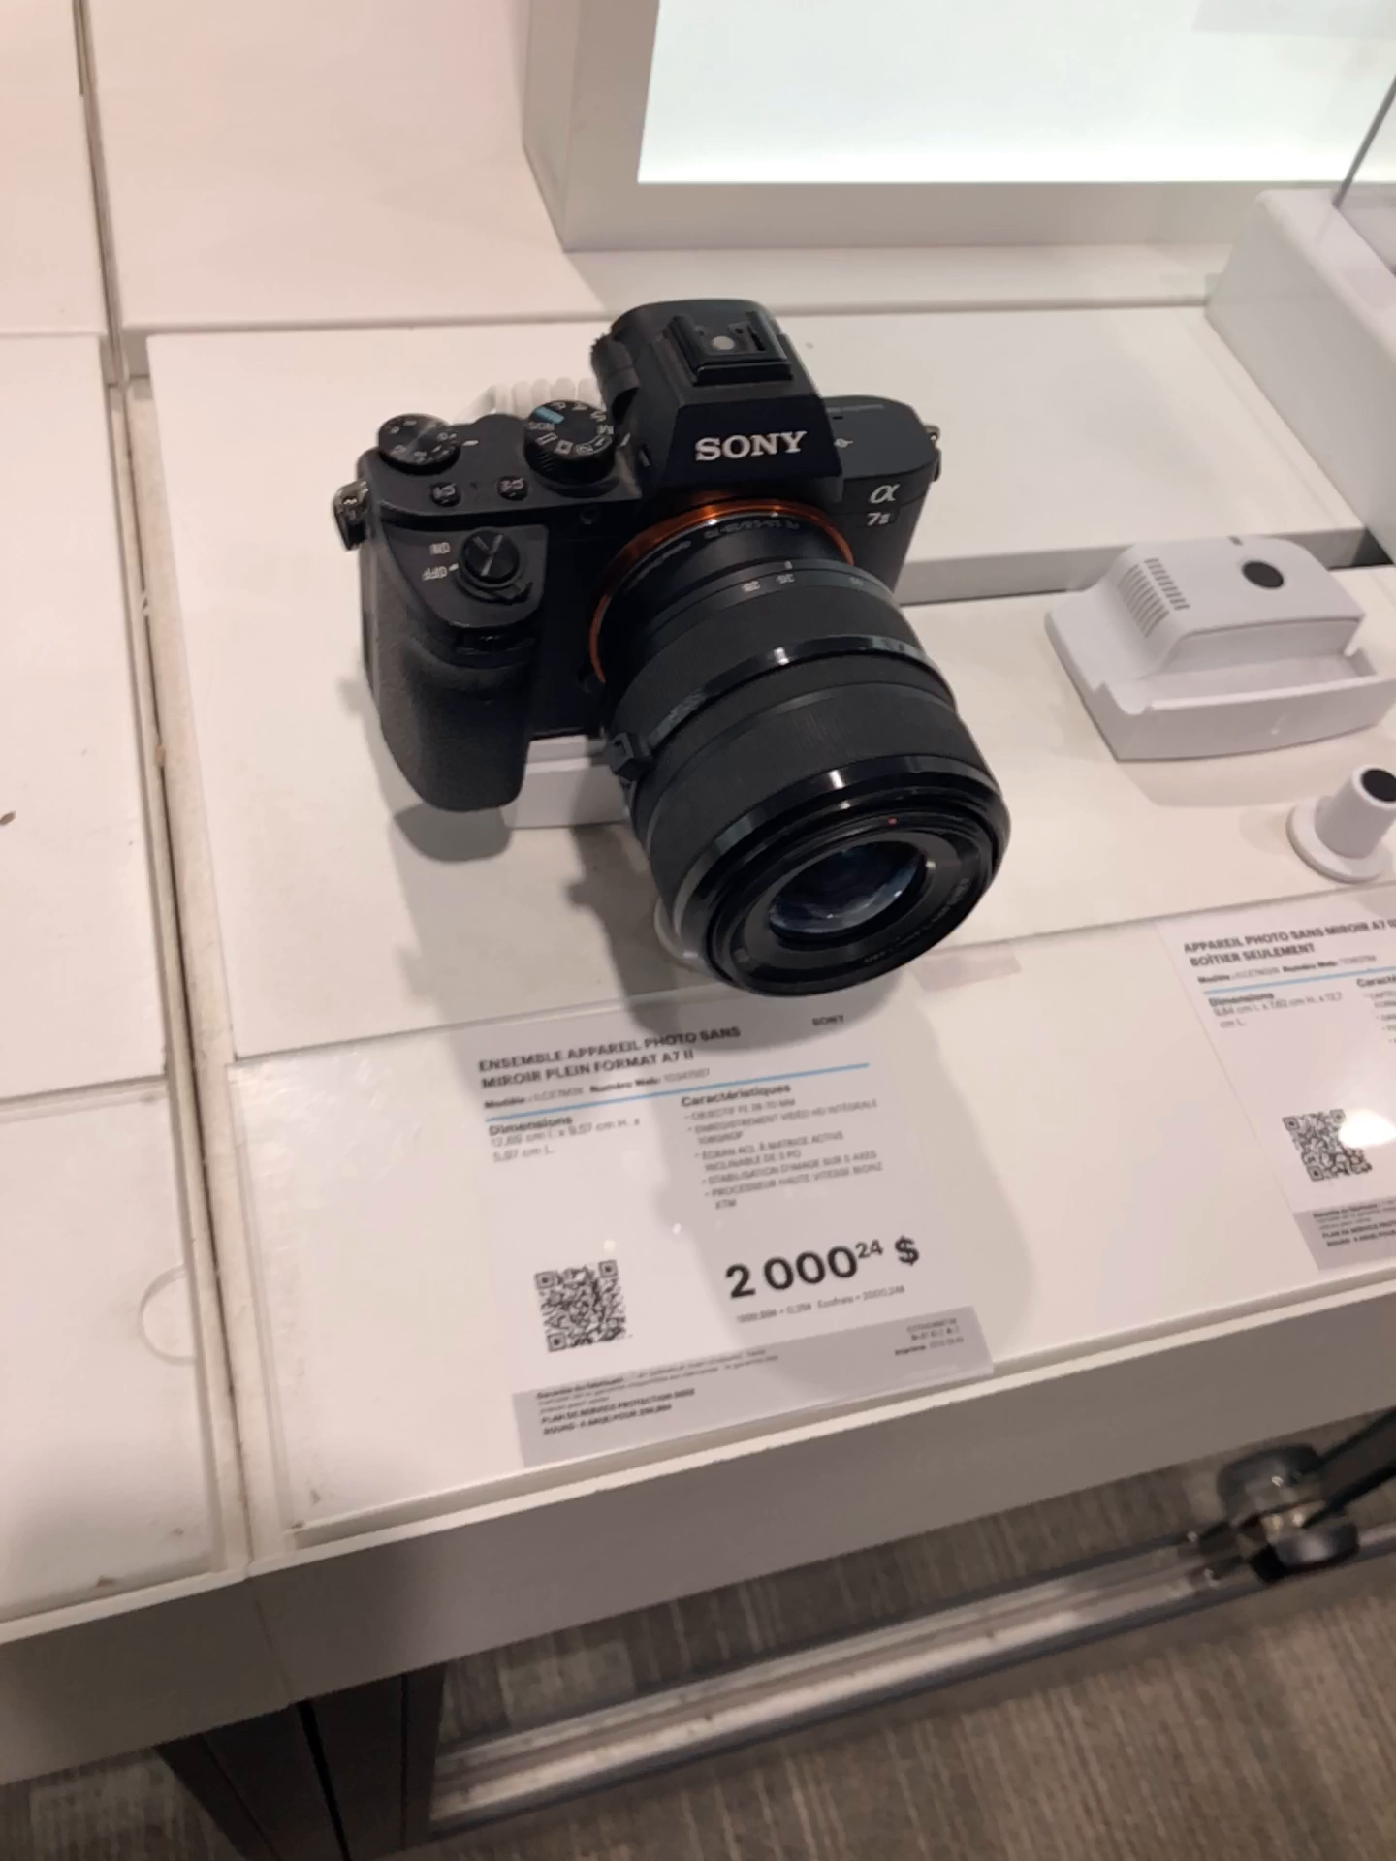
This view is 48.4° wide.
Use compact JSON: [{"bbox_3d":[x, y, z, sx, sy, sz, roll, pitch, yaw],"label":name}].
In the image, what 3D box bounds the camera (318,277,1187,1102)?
[{"bbox_3d":[-0.001,-0.057,0.338,0.134,0.099,0.131,-10,56,-18],"label":"camera"}]
